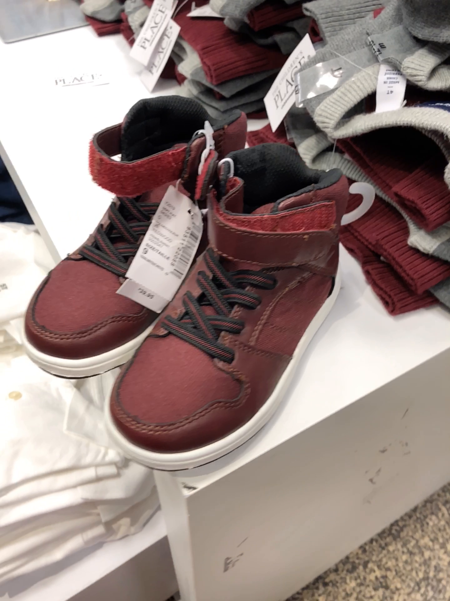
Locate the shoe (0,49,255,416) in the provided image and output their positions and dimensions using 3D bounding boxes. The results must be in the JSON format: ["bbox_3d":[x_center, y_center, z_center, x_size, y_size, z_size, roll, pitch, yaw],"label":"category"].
[{"bbox_3d":[-0.059,-0.042,0.263,0.070,0.100,0.160,27,54,19],"label":"shoe"}]

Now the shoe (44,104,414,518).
[{"bbox_3d":[0.014,-0.005,0.261,0.080,0.100,0.180,27,54,19],"label":"shoe"}]
